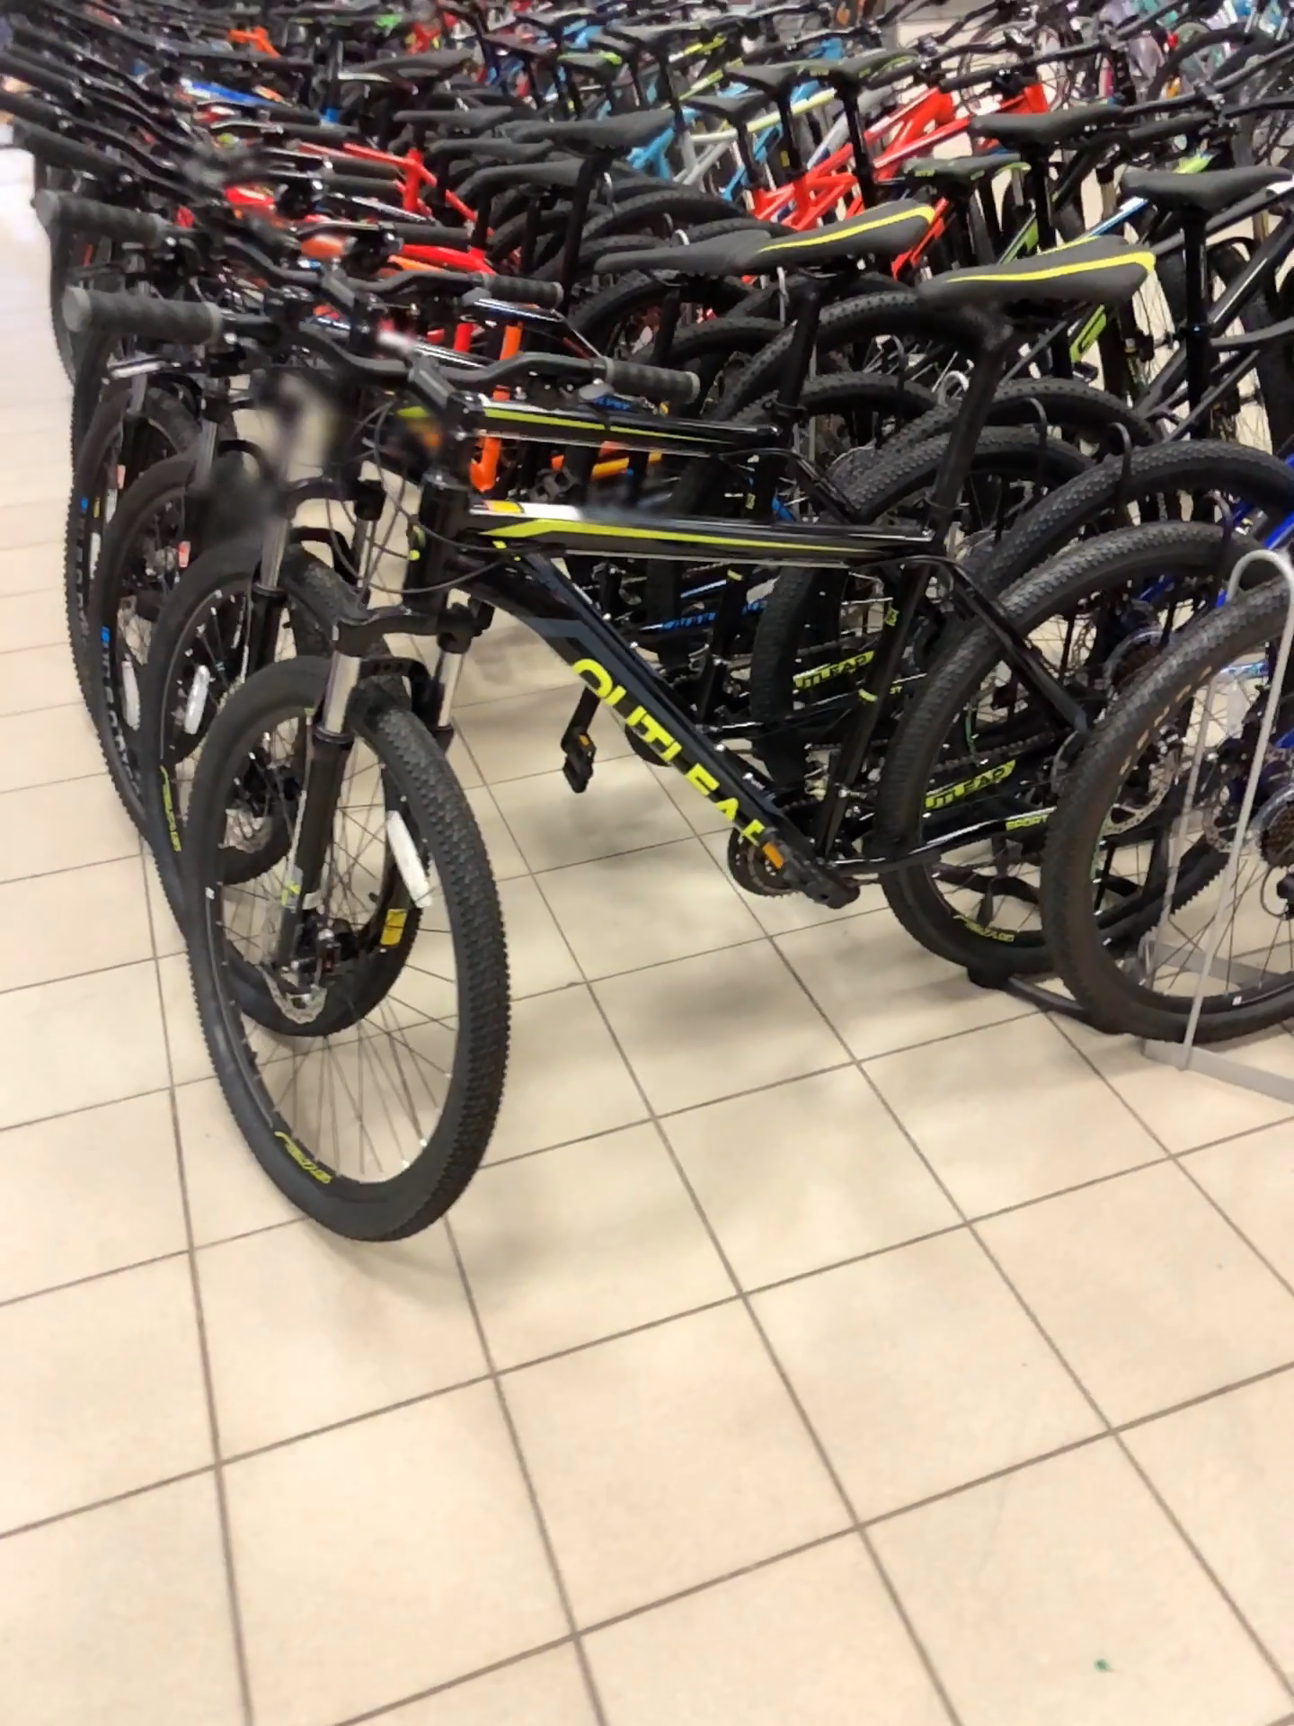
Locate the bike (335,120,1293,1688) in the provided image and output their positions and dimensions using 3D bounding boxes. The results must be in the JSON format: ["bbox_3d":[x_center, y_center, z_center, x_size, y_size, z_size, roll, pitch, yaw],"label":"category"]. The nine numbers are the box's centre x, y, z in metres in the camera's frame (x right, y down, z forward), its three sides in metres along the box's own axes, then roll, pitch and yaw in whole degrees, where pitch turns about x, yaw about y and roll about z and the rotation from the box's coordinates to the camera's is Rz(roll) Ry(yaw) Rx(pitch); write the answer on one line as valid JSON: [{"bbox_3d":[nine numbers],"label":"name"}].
[{"bbox_3d":[0.373,-0.112,1.577,1.355,1.044,0.664,-20,38,-23],"label":"bike"}]
